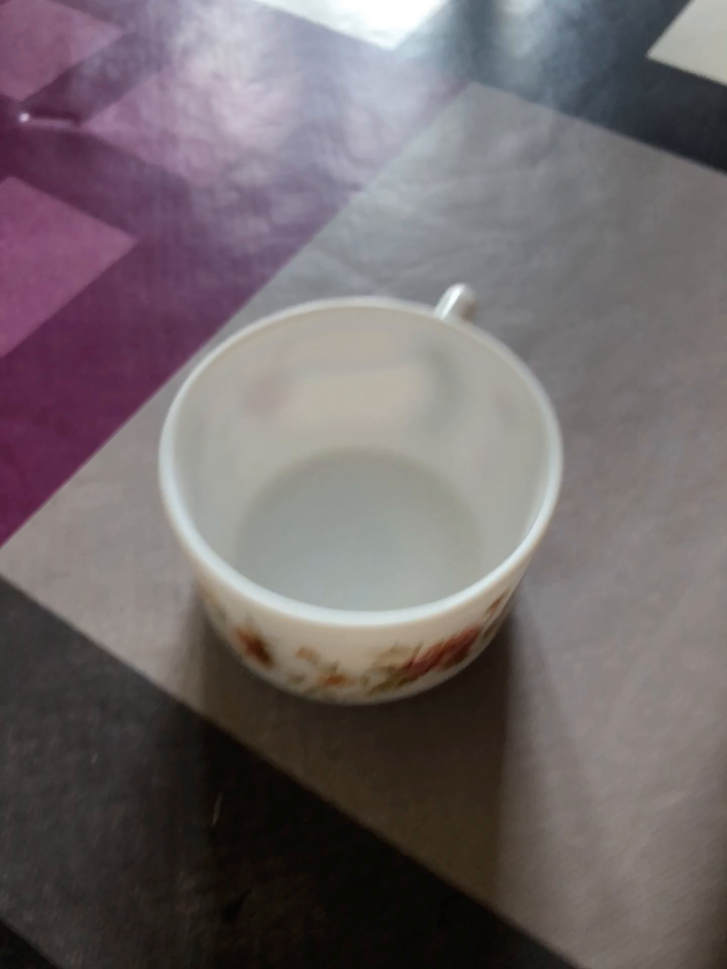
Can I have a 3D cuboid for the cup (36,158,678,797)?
[{"bbox_3d":[0.005,-0.008,0.181,0.080,0.050,0.111,27,60,15],"label":"cup"}]
